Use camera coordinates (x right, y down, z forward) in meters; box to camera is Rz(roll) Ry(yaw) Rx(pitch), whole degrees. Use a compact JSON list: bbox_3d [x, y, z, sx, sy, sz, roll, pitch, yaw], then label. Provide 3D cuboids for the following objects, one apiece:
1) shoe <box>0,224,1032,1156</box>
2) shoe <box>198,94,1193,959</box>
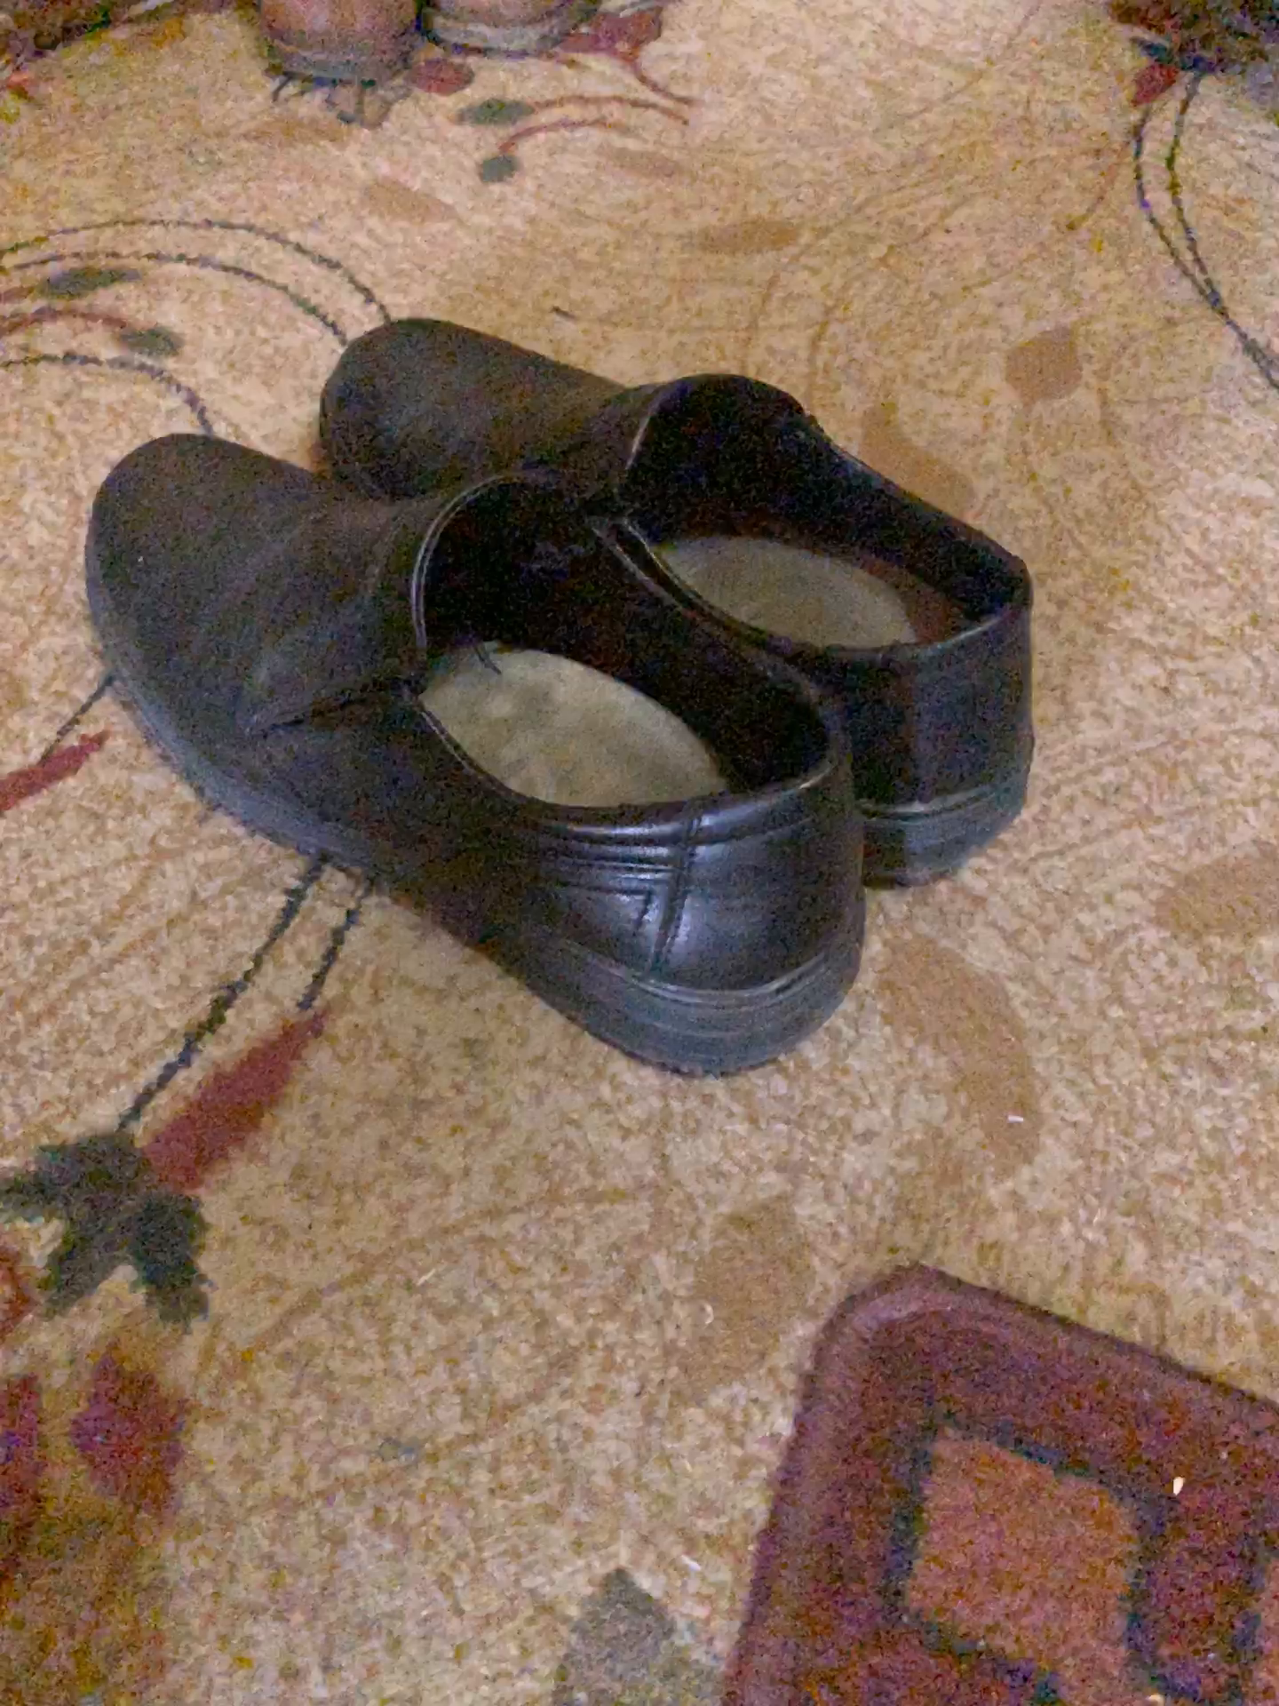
[{"bbox_3d":[-0.059,-0.056,0.363,0.291,0.099,0.100,31,58,19],"label":"shoe"},{"bbox_3d":[-0.001,-0.114,0.406,0.100,0.099,0.291,-37,63,-26],"label":"shoe"}]
